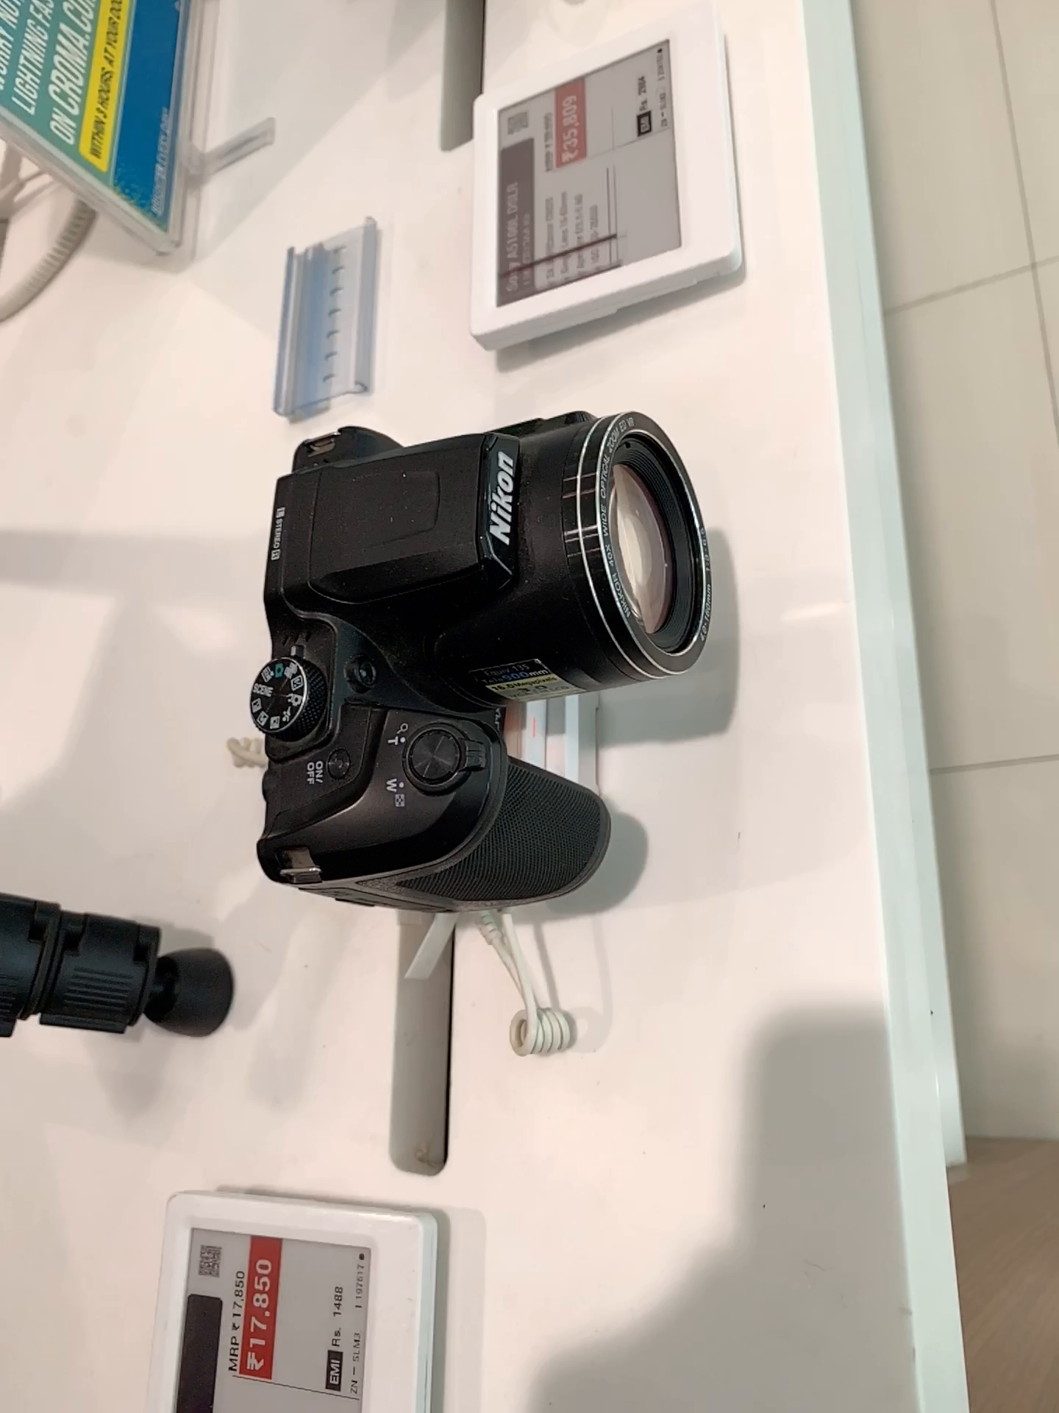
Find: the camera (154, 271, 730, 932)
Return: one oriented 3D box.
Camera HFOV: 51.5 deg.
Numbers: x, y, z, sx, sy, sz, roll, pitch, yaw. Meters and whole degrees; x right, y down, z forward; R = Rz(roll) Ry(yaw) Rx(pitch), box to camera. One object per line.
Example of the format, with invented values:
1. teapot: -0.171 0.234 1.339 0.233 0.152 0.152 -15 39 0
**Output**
1. camera: -0.016 -0.013 0.263 0.100 0.080 0.120 -10 68 31
